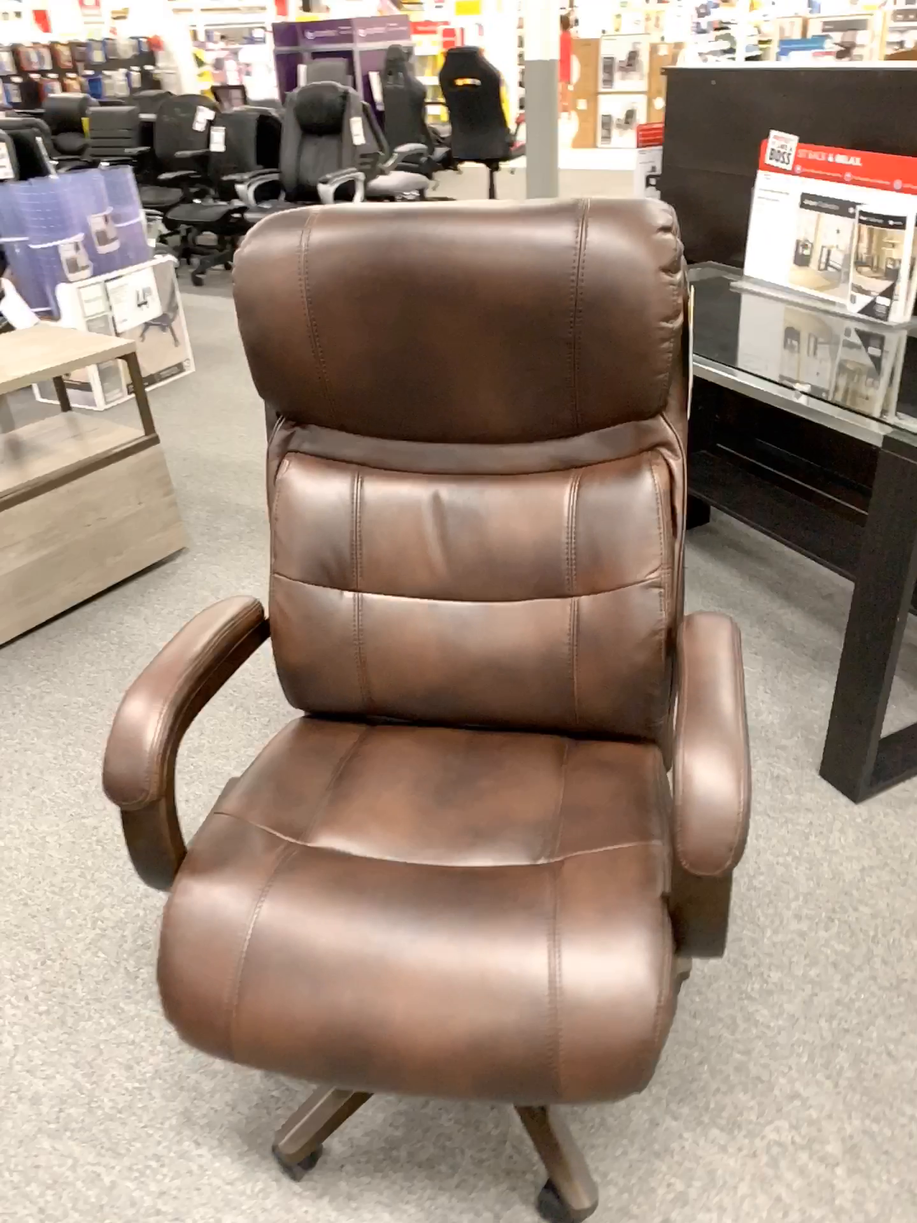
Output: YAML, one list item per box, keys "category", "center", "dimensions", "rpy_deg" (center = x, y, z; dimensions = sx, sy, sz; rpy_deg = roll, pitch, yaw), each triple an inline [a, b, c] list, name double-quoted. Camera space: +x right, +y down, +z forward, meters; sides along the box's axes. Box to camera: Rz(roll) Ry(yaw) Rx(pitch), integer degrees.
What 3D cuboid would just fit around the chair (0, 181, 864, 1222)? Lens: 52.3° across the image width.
- category: "chair"
  center: [-0.037, 0.130, 1.150]
  dimensions: [0.710, 1.094, 0.703]
  rpy_deg: [3, 32, 10]
